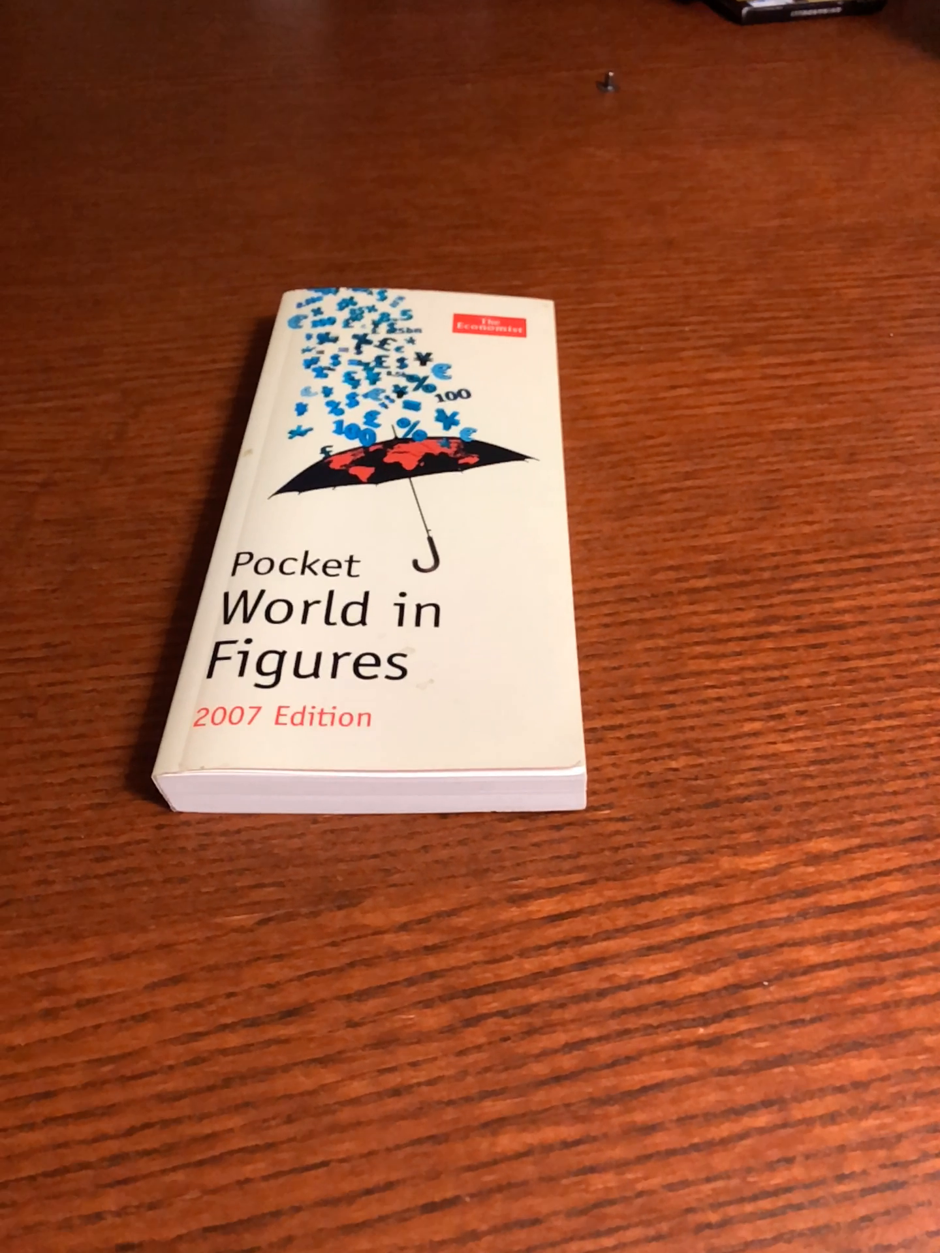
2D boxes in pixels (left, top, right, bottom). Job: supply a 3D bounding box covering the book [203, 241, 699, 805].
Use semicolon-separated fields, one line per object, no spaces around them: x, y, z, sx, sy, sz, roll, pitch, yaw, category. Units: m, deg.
-0.002;-0.045;0.291;0.100;0.030;0.201;1;47;0;book
